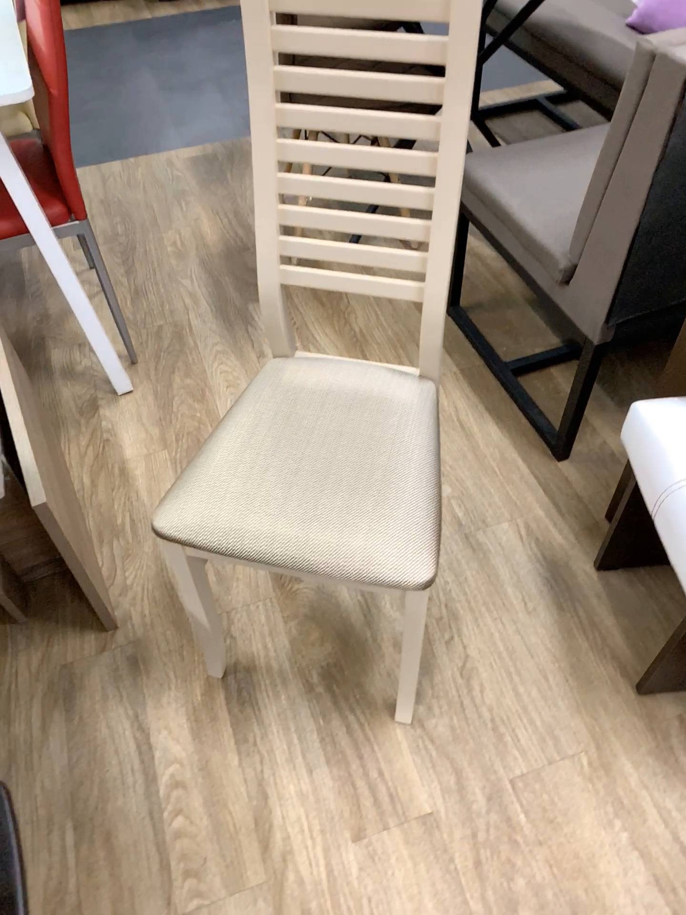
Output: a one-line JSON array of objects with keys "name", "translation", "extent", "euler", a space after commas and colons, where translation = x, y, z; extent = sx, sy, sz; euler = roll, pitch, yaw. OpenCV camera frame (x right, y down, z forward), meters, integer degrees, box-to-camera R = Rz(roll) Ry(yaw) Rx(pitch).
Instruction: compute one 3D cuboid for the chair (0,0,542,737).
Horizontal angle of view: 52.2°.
[{"name": "chair", "translation": [-0.031, -0.075, 1.062], "extent": [0.440, 0.985, 0.553], "euler": [10, 50, 11]}]
